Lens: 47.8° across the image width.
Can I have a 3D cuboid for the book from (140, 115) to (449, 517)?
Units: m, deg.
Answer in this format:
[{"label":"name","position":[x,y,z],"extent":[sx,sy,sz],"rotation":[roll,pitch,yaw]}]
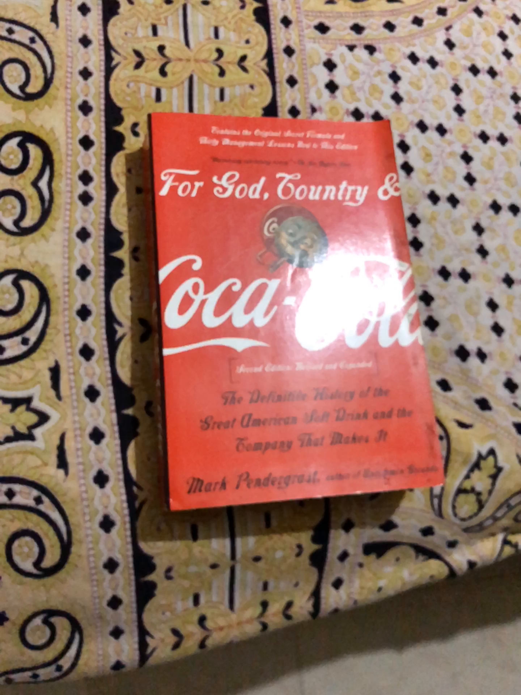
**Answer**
[{"label":"book","position":[0.012,-0.023,0.363],"extent":[0.160,0.050,0.230],"rotation":[-2,76,-12]}]
